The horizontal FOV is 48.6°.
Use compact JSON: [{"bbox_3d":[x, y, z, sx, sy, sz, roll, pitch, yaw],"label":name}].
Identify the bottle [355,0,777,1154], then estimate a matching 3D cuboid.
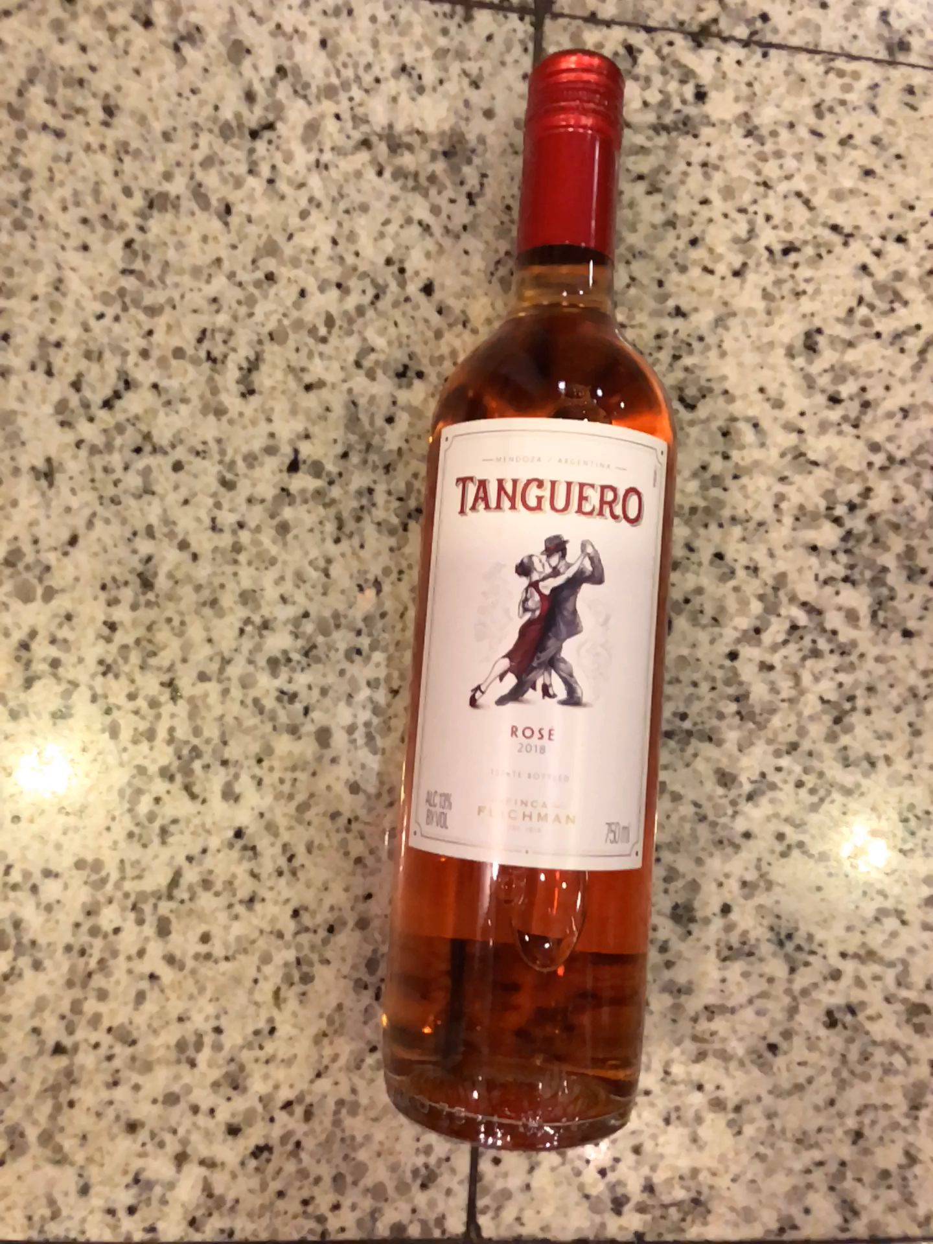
[{"bbox_3d":[0.026,-0.029,0.292,0.090,0.060,0.320,4,86,-7],"label":"bottle"}]
